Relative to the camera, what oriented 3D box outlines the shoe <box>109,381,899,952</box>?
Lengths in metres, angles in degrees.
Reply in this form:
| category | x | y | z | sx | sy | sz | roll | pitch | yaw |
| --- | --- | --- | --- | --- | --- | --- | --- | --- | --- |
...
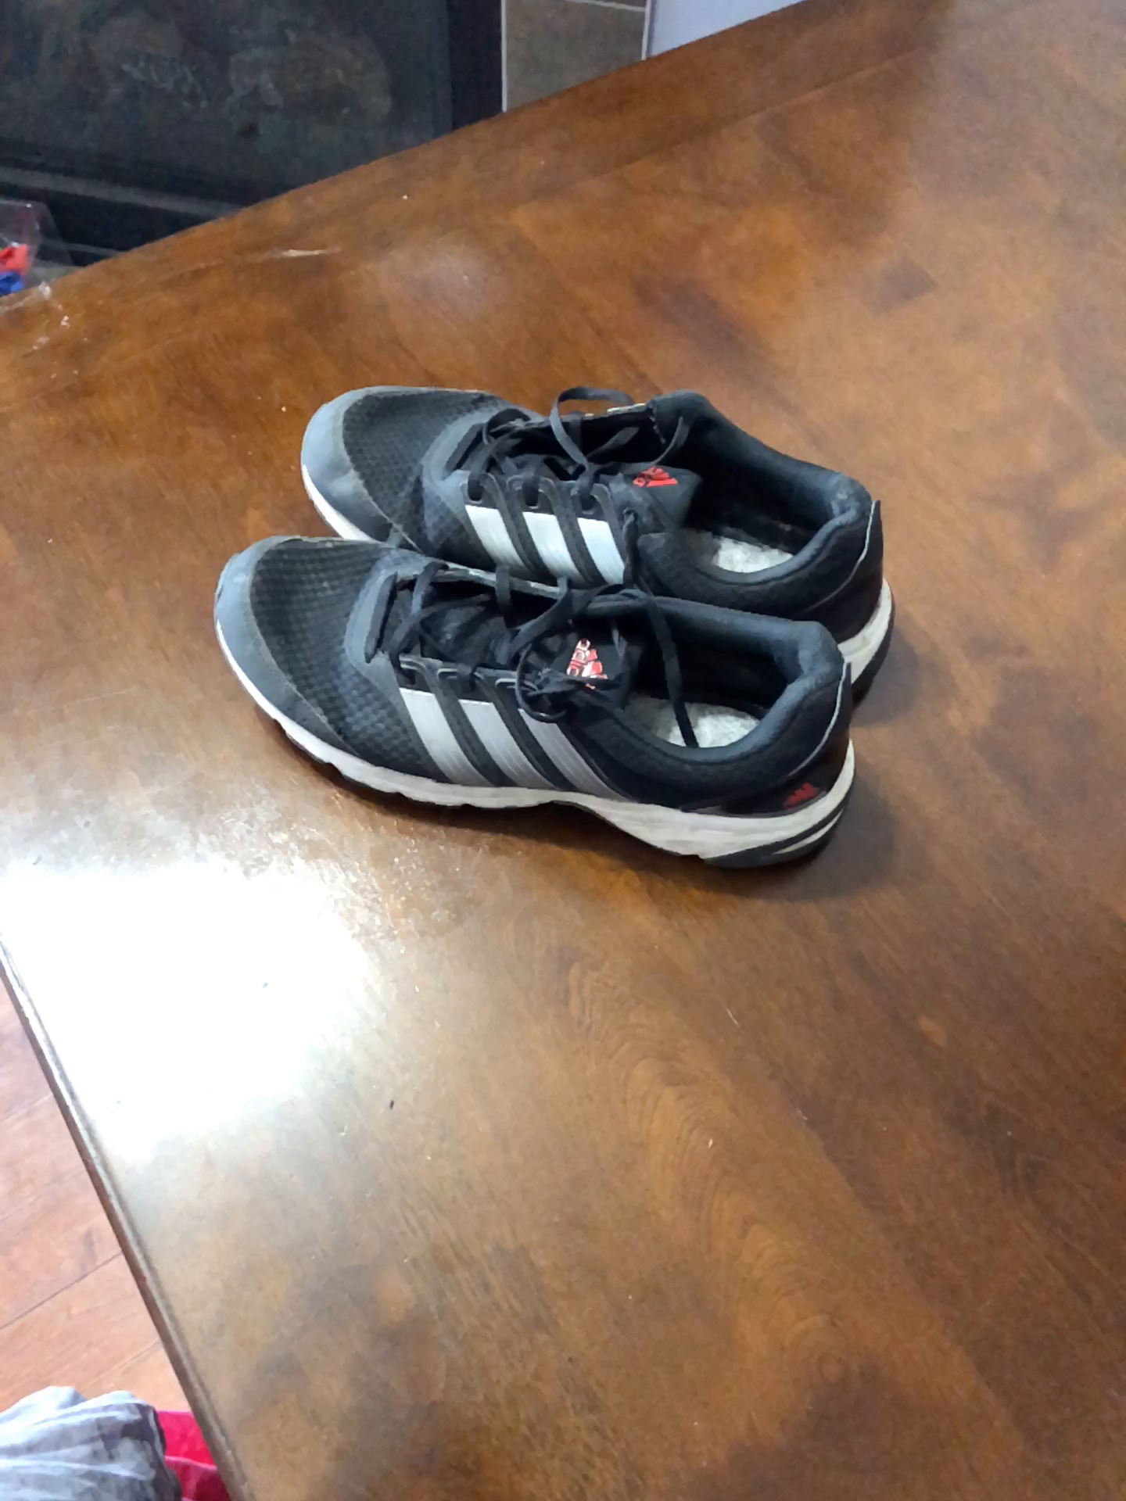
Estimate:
| category | x | y | z | sx | sy | sz | roll | pitch | yaw |
| --- | --- | --- | --- | --- | --- | --- | --- | --- | --- |
| shoe | -0.023 | -0.035 | 0.551 | 0.290 | 0.130 | 0.120 | 18 | 62 | 8 |

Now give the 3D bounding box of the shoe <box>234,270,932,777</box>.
| category | x | y | z | sx | sy | sz | roll | pitch | yaw |
| --- | --- | --- | --- | --- | --- | --- | --- | --- | --- |
| shoe | 0.009 | -0.110 | 0.610 | 0.290 | 0.120 | 0.120 | 18 | 62 | 8 |
